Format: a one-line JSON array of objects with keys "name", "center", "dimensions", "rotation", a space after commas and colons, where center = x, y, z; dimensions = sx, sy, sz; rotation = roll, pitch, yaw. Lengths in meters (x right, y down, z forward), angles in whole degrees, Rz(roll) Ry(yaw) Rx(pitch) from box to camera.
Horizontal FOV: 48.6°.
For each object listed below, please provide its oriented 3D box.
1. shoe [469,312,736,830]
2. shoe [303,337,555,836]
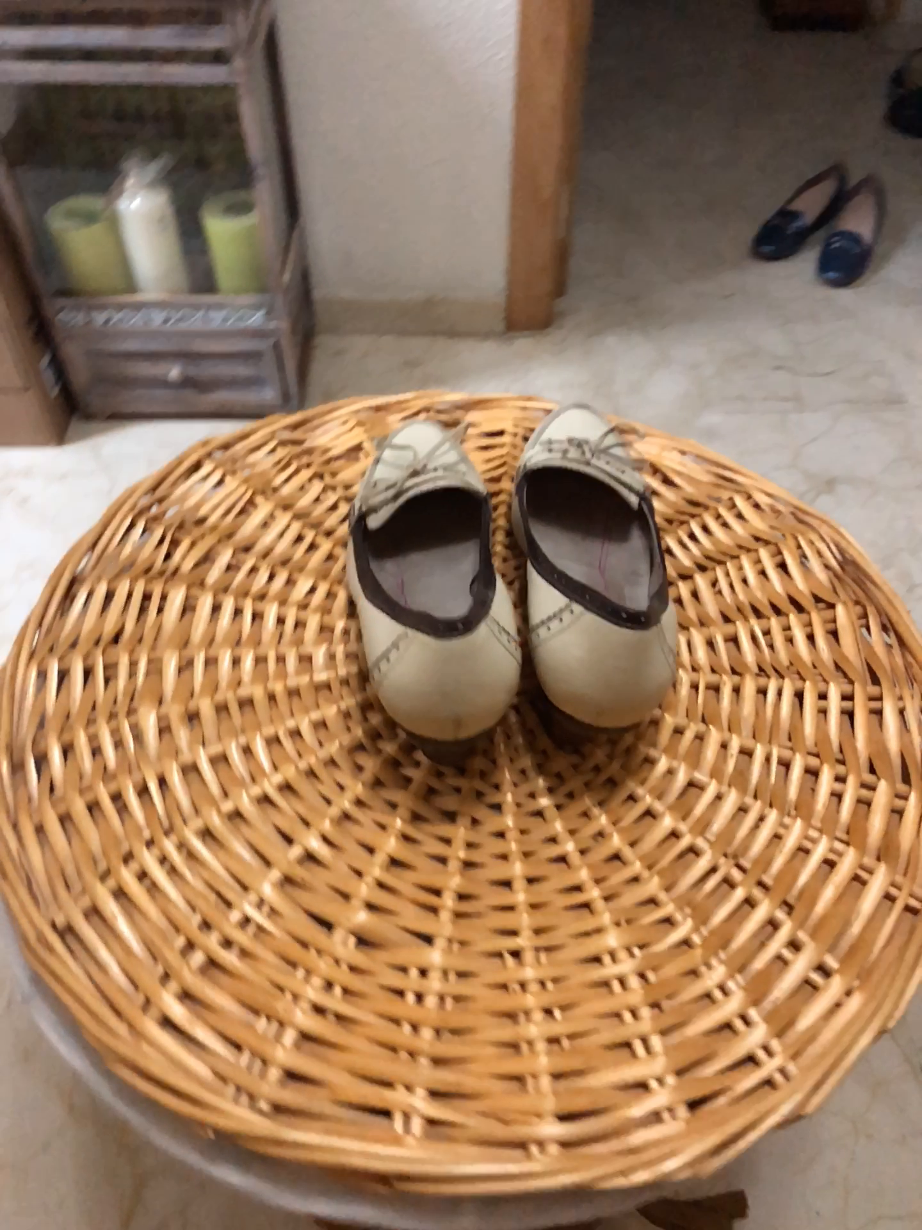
[{"name": "shoe", "center": [0.066, -0.034, 0.540], "dimensions": [0.100, 0.110, 0.261], "rotation": [5, 49, -1]}, {"name": "shoe", "center": [-0.026, -0.027, 0.524], "dimensions": [0.100, 0.090, 0.261], "rotation": [0, 49, -7]}]
